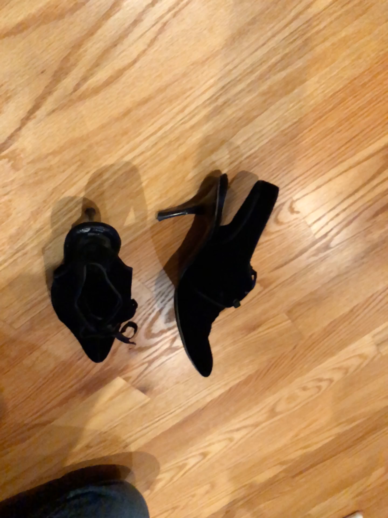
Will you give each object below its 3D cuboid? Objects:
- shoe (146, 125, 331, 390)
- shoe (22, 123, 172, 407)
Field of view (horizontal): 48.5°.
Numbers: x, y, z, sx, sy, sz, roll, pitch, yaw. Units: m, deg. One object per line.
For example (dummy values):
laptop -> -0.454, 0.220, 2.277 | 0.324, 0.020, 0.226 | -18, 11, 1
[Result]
shoe -> 0.027, 0.005, 0.455 | 0.118, 0.107, 0.252 | 0, 124, -16
shoe -> -0.091, 0.009, 0.431 | 0.107, 0.117, 0.253 | -6, 125, -14
